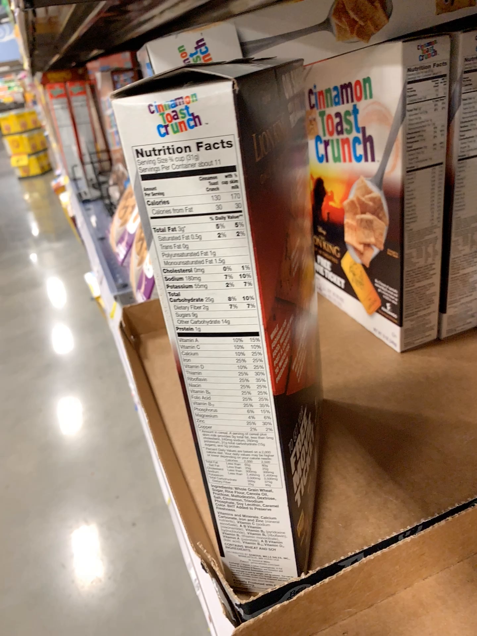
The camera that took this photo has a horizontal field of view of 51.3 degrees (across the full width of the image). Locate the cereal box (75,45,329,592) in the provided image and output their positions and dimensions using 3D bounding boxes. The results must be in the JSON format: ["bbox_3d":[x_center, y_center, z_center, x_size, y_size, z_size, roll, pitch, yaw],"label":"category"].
[{"bbox_3d":[0.012,-0.010,0.313,0.060,0.279,0.191,-2,28,15],"label":"cereal box"}]
